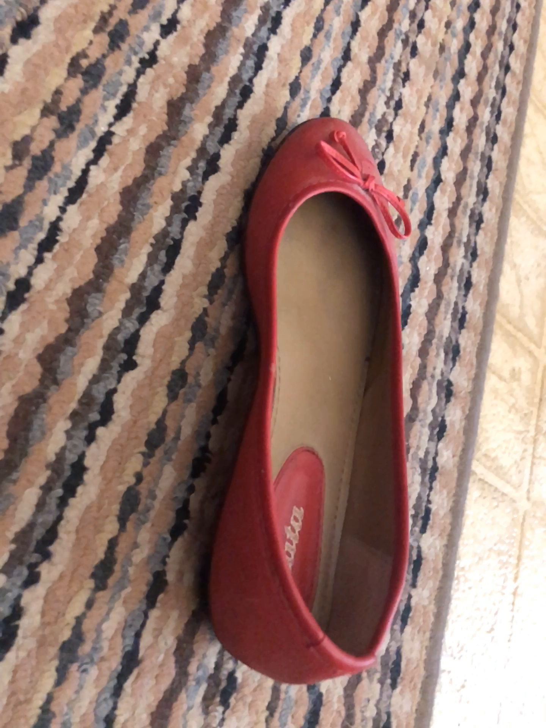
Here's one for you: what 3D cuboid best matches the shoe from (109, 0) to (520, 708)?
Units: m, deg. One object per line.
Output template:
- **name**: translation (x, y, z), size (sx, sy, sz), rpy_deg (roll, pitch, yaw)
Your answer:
- **shoe**: translation (0.028, -0.010, 0.276), size (0.101, 0.110, 0.270), rpy_deg (23, 67, -31)
